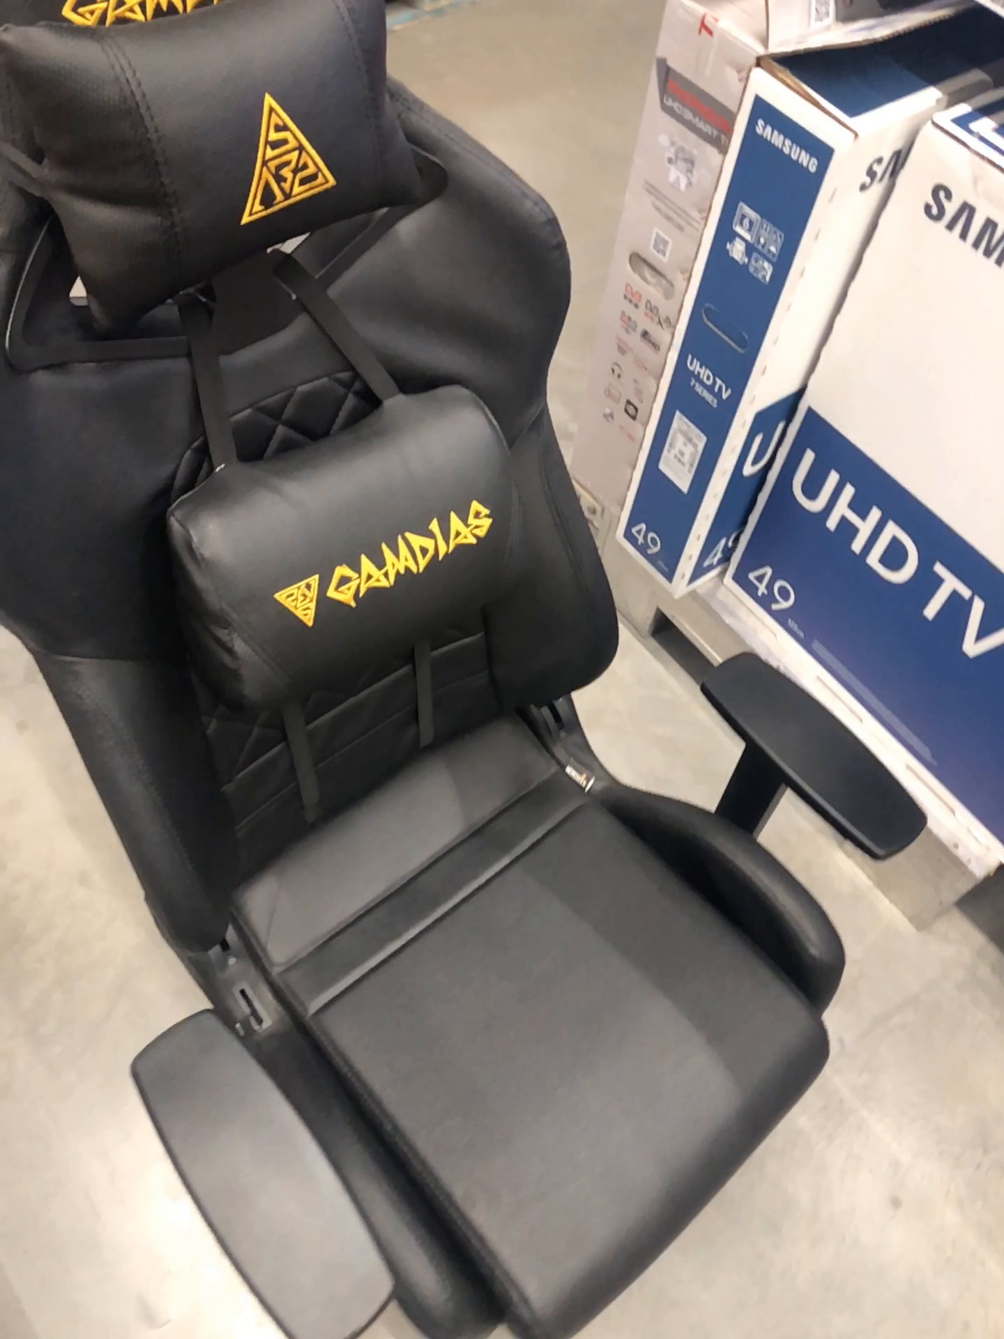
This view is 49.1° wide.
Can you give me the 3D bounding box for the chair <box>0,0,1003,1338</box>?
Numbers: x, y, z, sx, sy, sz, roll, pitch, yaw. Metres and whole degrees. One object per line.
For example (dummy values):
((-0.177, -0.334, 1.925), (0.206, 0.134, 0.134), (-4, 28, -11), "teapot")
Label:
((-0.027, 0.116, 0.965), (0.742, 1.283, 0.782), (-33, 66, -25), "chair")
